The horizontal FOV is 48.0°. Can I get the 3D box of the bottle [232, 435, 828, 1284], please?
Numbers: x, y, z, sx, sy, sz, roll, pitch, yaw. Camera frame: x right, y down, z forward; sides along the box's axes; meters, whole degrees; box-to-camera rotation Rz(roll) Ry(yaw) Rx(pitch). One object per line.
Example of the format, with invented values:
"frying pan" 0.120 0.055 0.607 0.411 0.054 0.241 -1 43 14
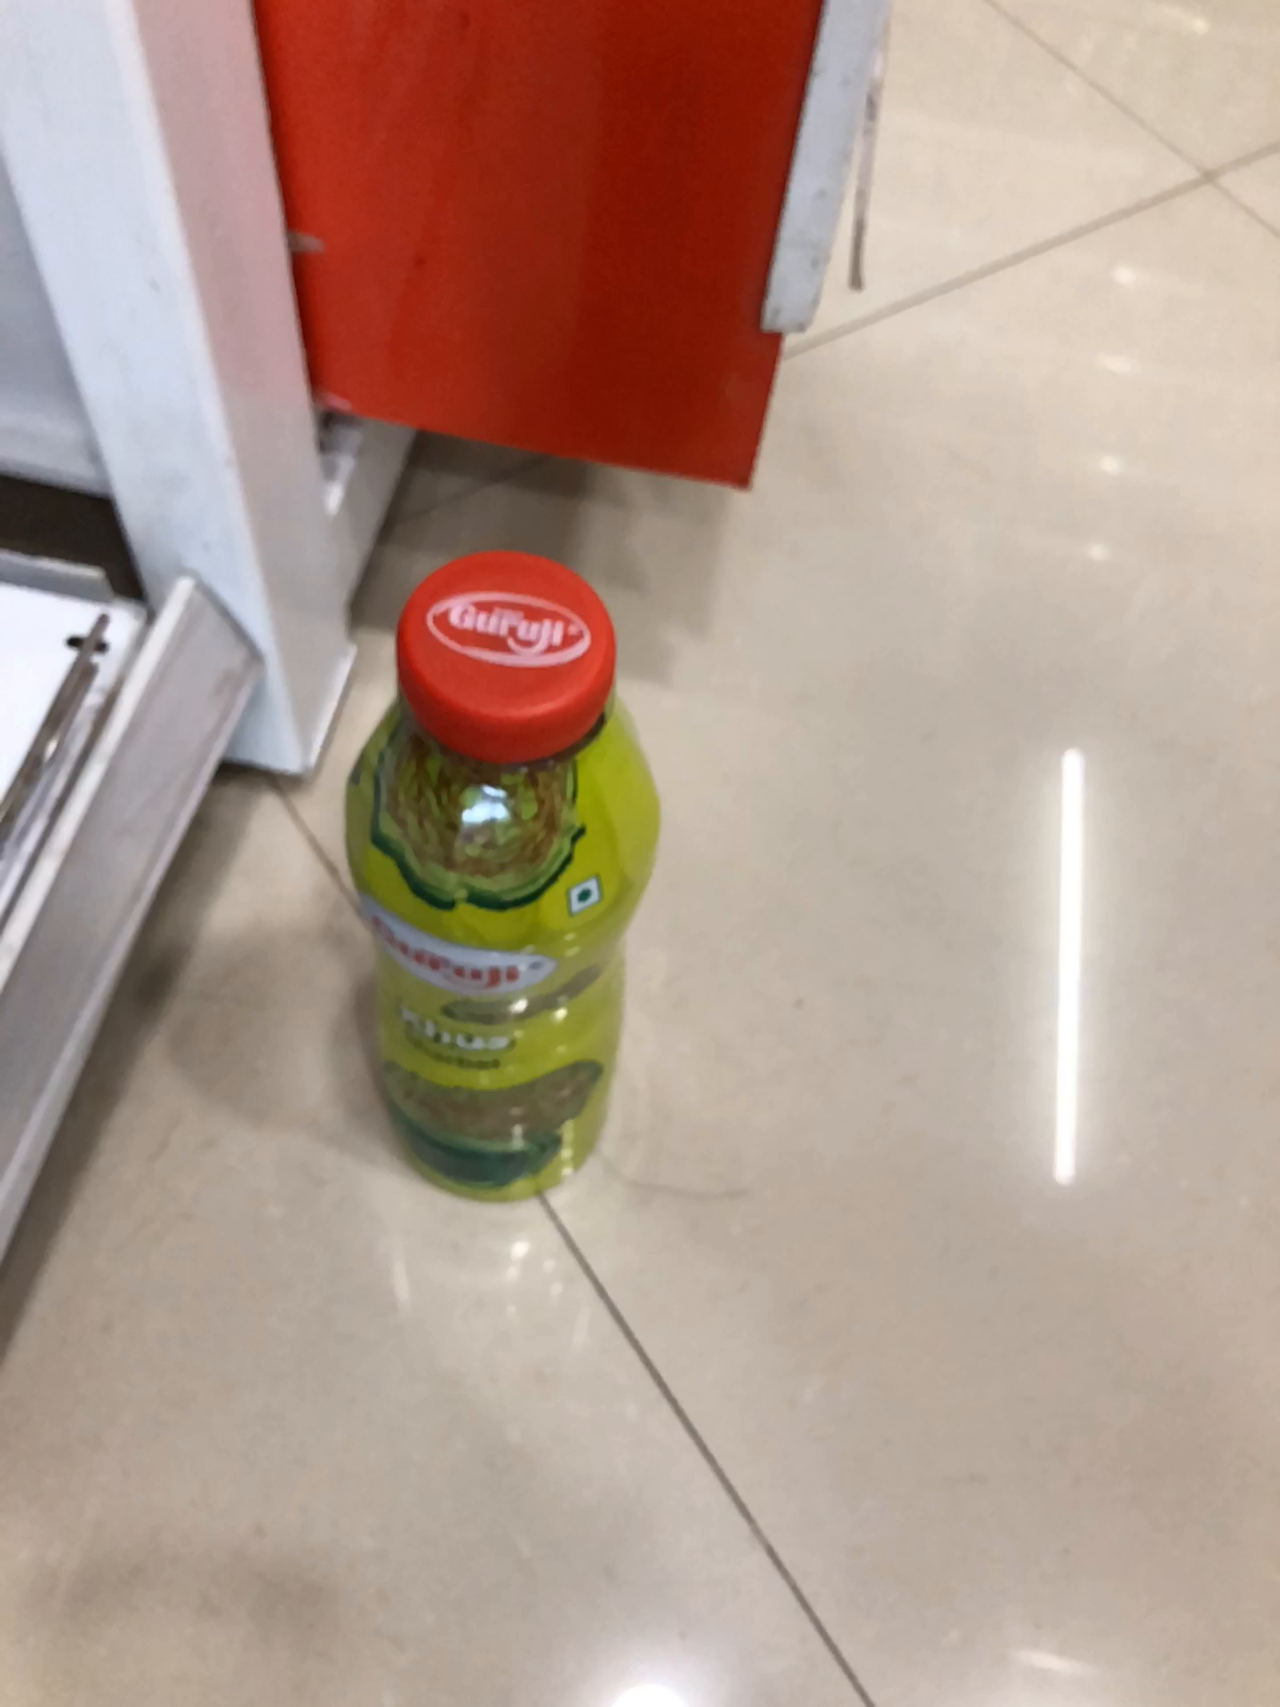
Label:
"bottle" -0.025 0.024 0.359 0.080 0.239 0.080 2 59 -4
